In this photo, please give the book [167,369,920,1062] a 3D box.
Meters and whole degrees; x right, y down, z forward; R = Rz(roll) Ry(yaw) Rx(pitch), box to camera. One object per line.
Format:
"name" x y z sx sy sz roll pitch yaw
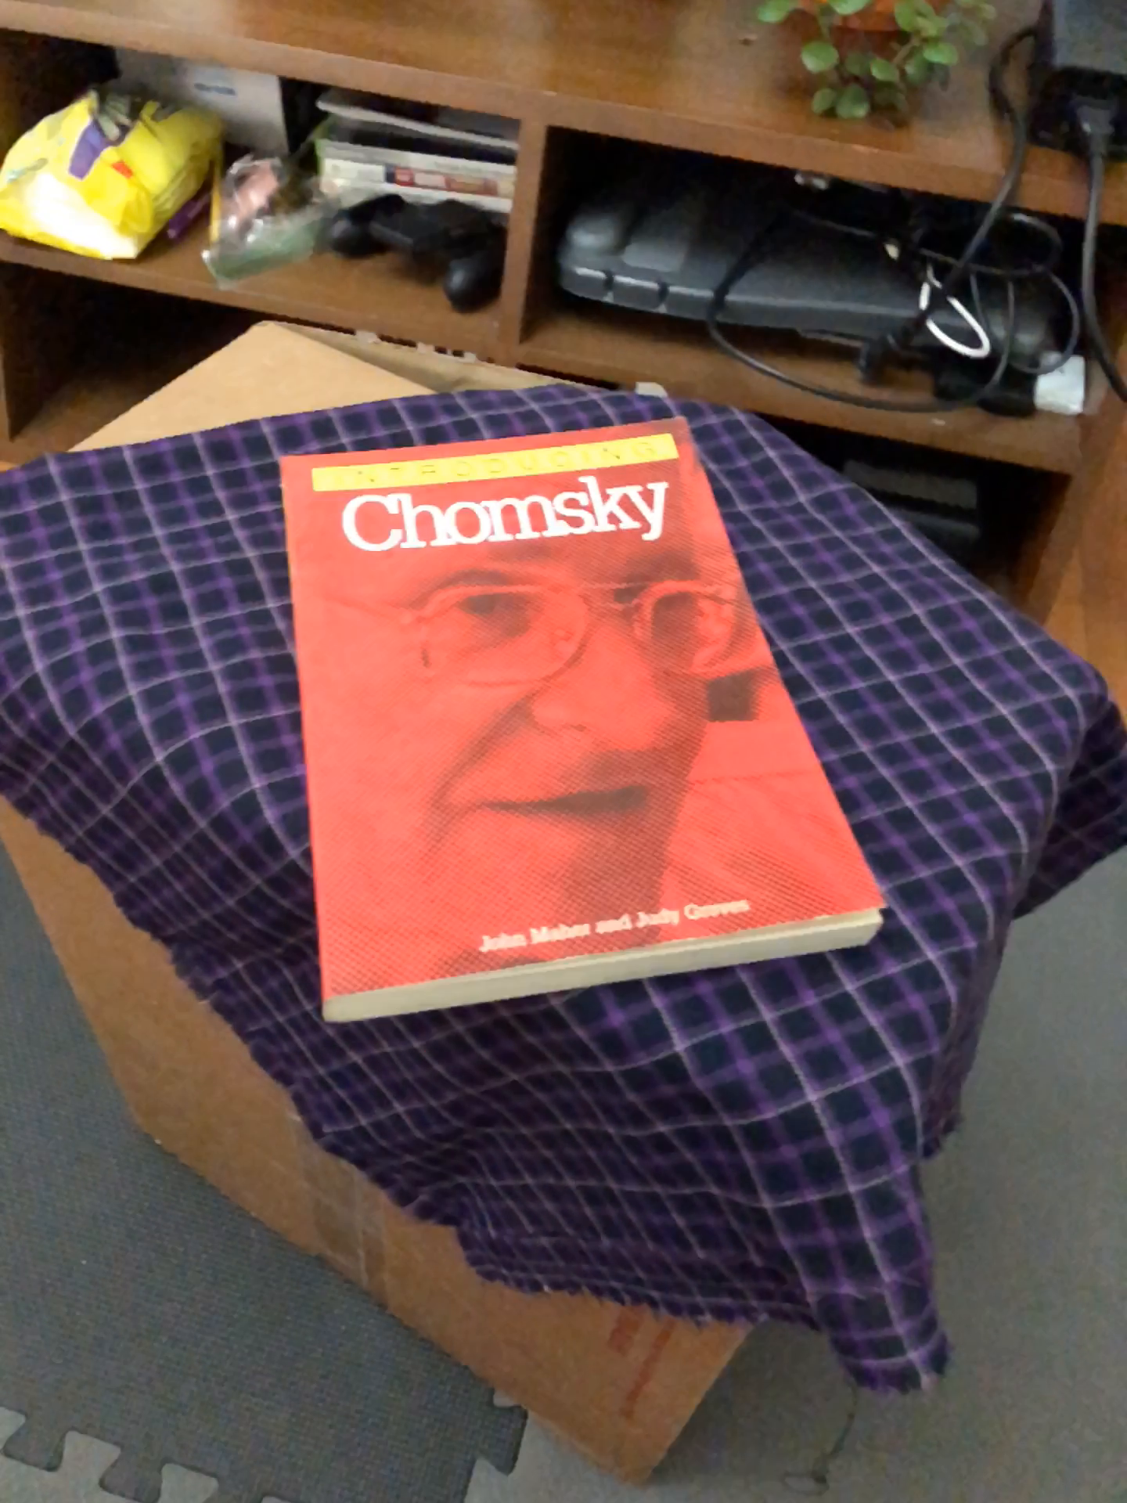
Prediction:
"book" -0.025 -0.035 0.375 0.180 0.020 0.241 -7 50 -10
